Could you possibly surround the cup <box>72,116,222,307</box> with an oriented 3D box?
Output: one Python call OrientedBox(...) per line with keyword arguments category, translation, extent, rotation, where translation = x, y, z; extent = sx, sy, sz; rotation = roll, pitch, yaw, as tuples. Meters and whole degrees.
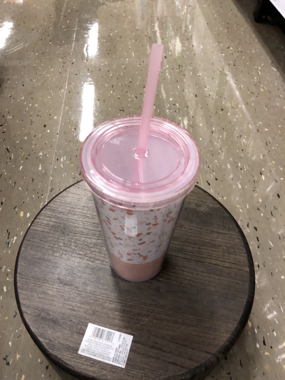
OrientedBox(category="cup", translation=(-0.004, 0.026, 0.295), extent=(0.090, 0.150, 0.090), rotation=(1, 50, -2))
